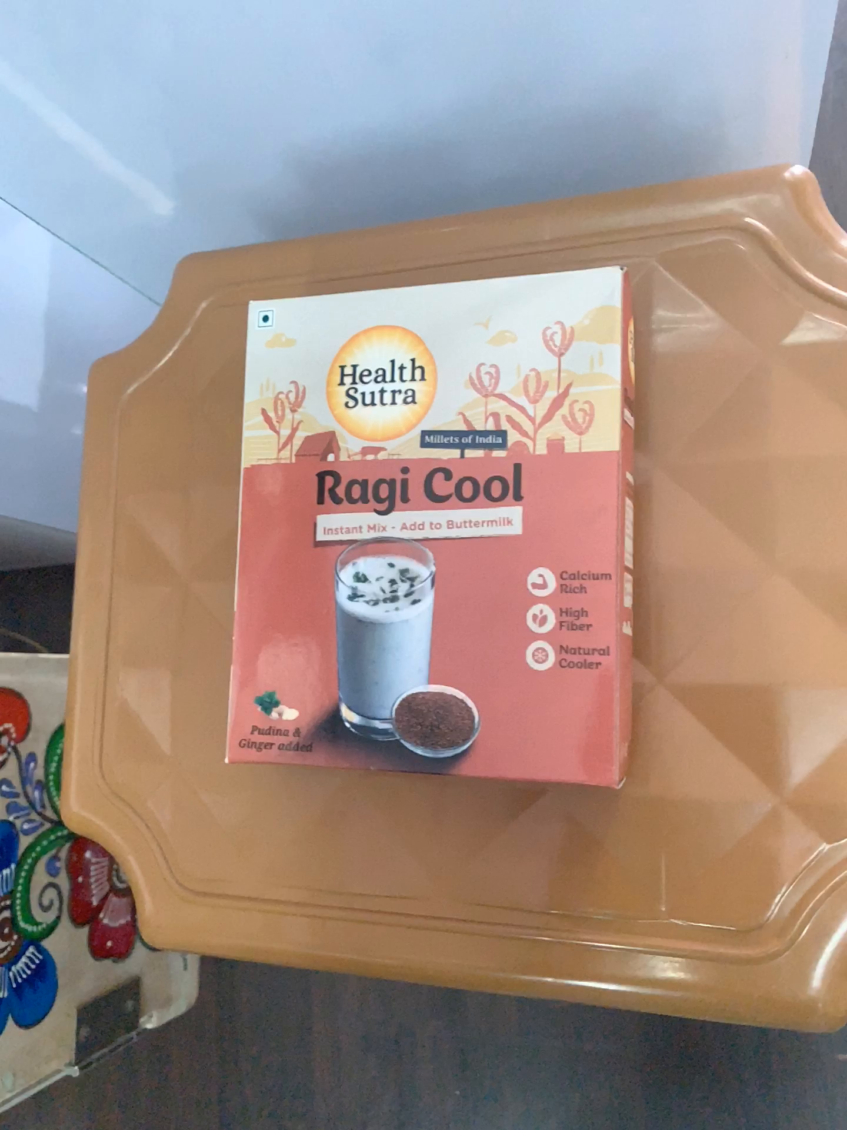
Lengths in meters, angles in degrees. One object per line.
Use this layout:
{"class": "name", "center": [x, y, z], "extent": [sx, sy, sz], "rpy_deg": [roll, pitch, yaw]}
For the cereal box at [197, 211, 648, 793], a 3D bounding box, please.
{"class": "cereal box", "center": [0.001, -0.018, 0.292], "extent": [0.140, 0.040, 0.170], "rpy_deg": [-1, 83, 18]}
